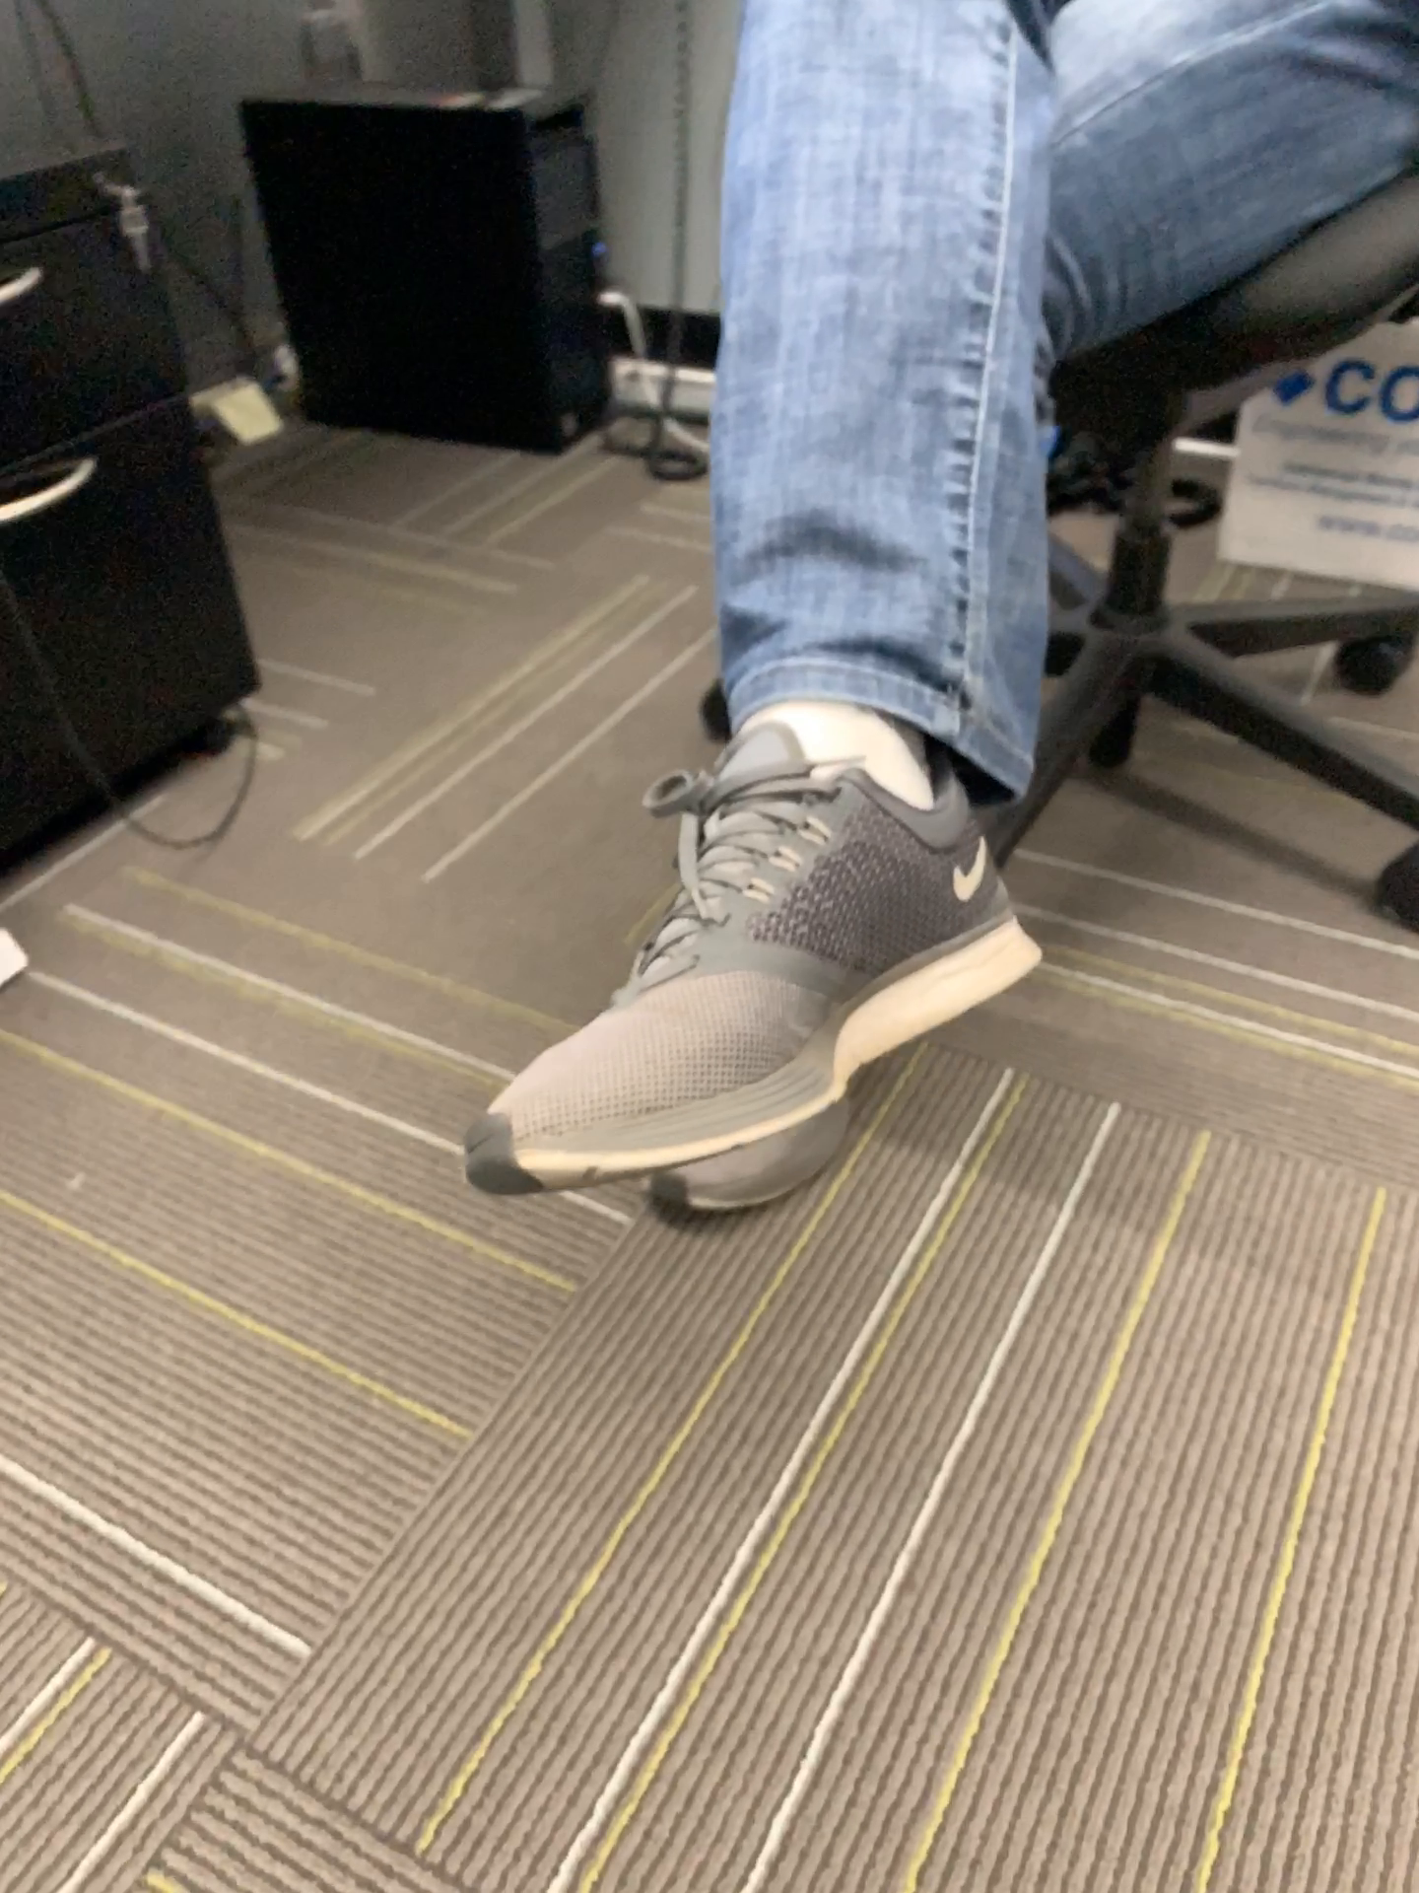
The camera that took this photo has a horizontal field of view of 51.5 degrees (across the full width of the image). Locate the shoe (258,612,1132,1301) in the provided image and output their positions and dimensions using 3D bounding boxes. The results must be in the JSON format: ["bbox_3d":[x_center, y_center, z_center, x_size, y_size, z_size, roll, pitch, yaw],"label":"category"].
[{"bbox_3d":[0.009,-0.007,0.566,0.295,0.143,0.122,-27,2,-39],"label":"shoe"}]

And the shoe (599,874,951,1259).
[{"bbox_3d":[0.053,0.070,1.005,0.120,0.085,0.270,18,43,25],"label":"shoe"}]
